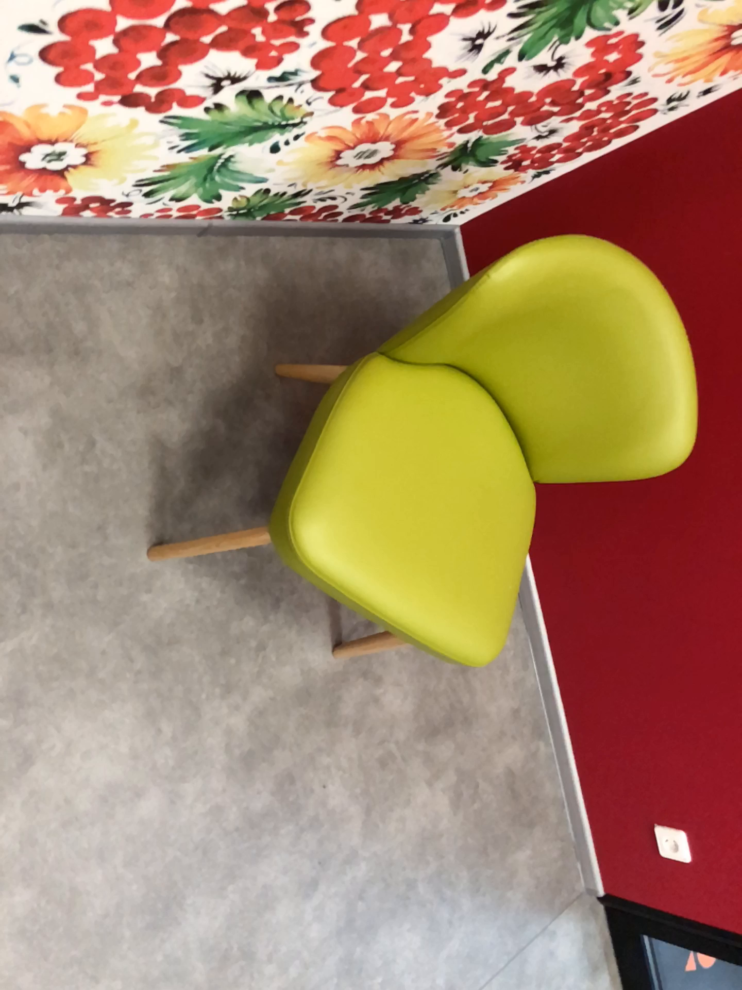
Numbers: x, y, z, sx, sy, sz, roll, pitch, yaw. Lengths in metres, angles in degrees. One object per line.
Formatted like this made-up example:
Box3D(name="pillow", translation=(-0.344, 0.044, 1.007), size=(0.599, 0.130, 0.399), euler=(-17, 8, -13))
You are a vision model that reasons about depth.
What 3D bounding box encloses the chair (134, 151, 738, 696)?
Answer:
Box3D(name="chair", translation=(0.099, -0.052, 1.411), size=(0.521, 0.776, 0.571), euler=(37, 62, -31))
